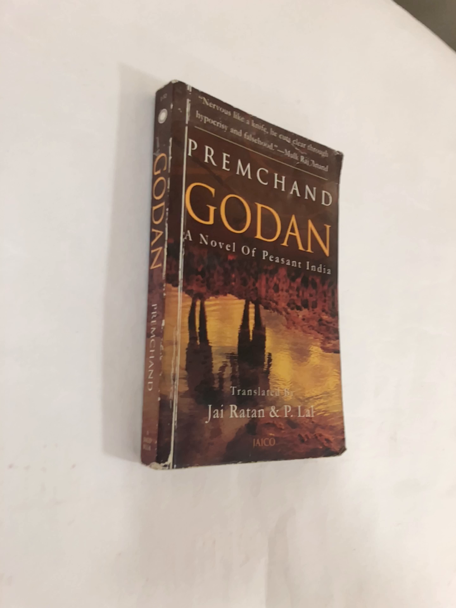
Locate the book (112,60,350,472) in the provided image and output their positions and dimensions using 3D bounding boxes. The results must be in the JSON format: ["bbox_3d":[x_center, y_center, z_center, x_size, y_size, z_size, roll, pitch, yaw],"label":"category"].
[{"bbox_3d":[0.013,-0.015,0.308,0.151,0.030,0.210,10,77,-37],"label":"book"}]
